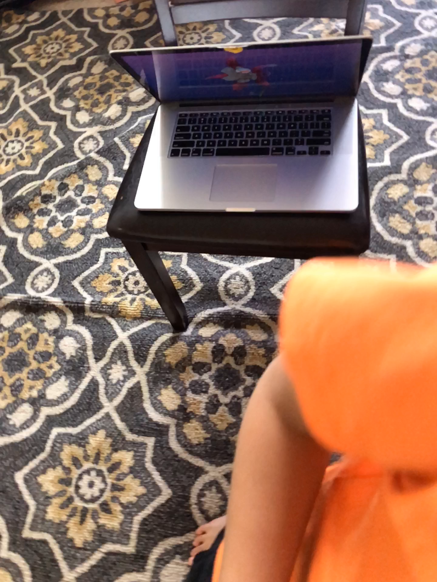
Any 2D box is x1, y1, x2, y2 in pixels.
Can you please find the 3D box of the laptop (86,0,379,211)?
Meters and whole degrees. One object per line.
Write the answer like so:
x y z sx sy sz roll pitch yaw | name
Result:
0.034 -0.277 0.708 0.351 0.200 0.237 2 62 10 | laptop
